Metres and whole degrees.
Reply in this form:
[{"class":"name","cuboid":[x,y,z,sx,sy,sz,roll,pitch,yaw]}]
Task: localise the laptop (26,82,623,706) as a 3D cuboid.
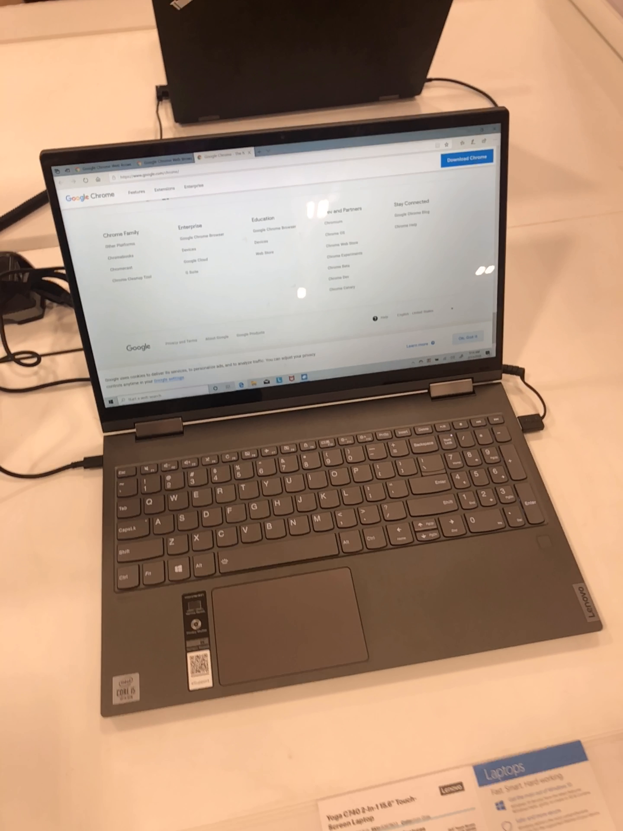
[{"class":"laptop","cuboid":[0.007,-0.030,0.503,0.352,0.179,0.365,-7,60,-6]}]
